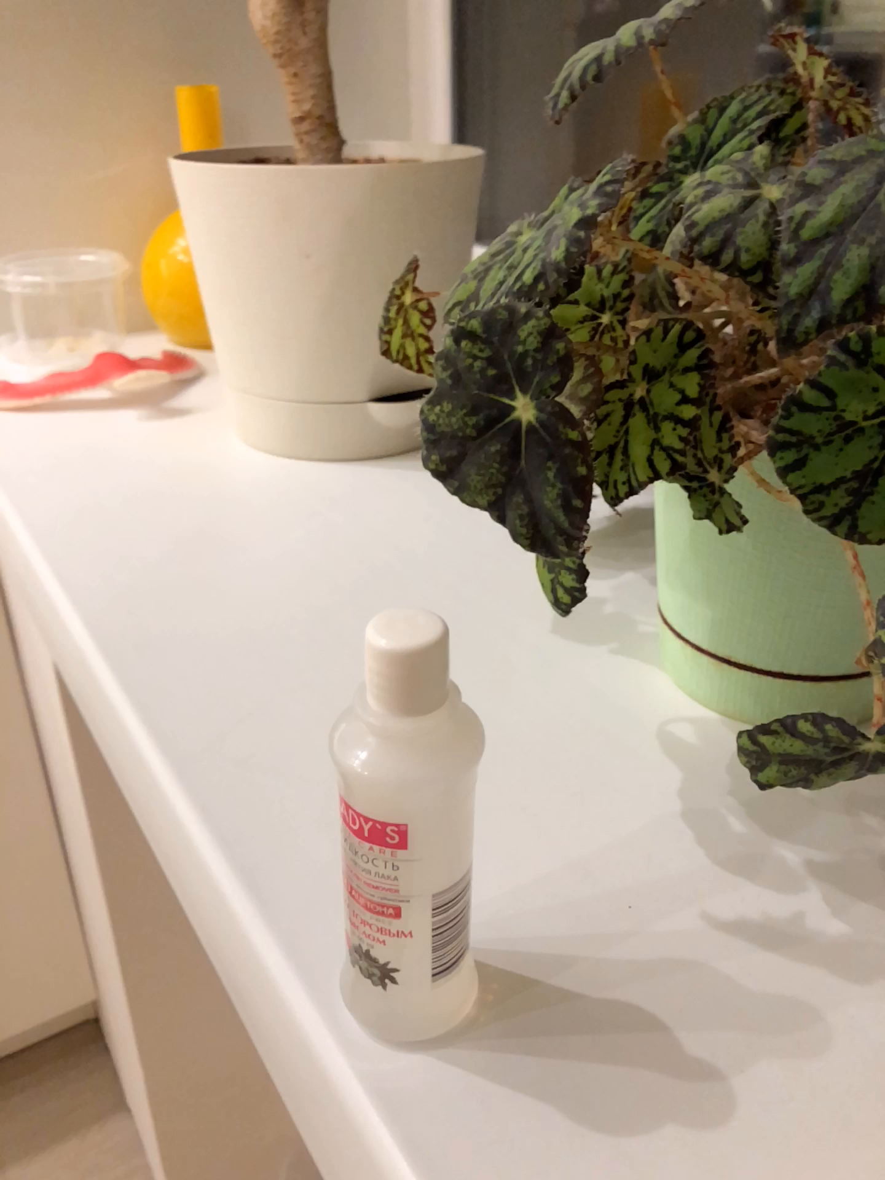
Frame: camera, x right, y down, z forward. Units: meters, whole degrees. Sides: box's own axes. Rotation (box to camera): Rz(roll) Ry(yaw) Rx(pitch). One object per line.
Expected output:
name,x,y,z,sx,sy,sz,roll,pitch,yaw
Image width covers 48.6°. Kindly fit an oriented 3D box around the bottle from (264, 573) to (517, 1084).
bottle,-0.010,0.055,0.226,0.037,0.105,0.037,0,27,0
